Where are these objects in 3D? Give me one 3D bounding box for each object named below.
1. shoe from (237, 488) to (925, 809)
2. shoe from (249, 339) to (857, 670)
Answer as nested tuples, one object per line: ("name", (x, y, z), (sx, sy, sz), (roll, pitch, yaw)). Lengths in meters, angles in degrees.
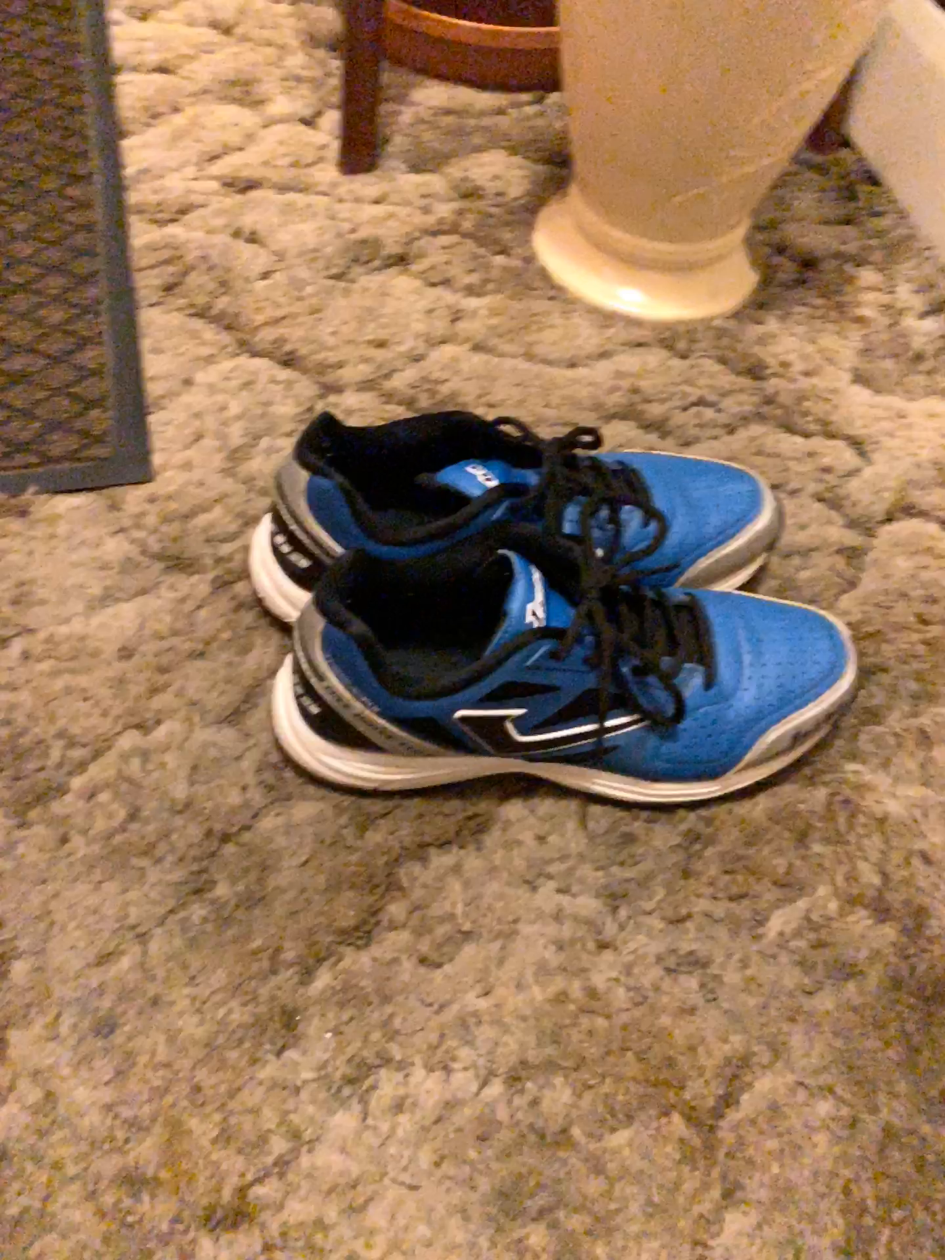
("shoe", (0.041, 0.010, 0.465), (0.280, 0.119, 0.101), (-1, 55, -6))
("shoe", (0.030, -0.064, 0.498), (0.270, 0.119, 0.101), (-4, 55, -8))
